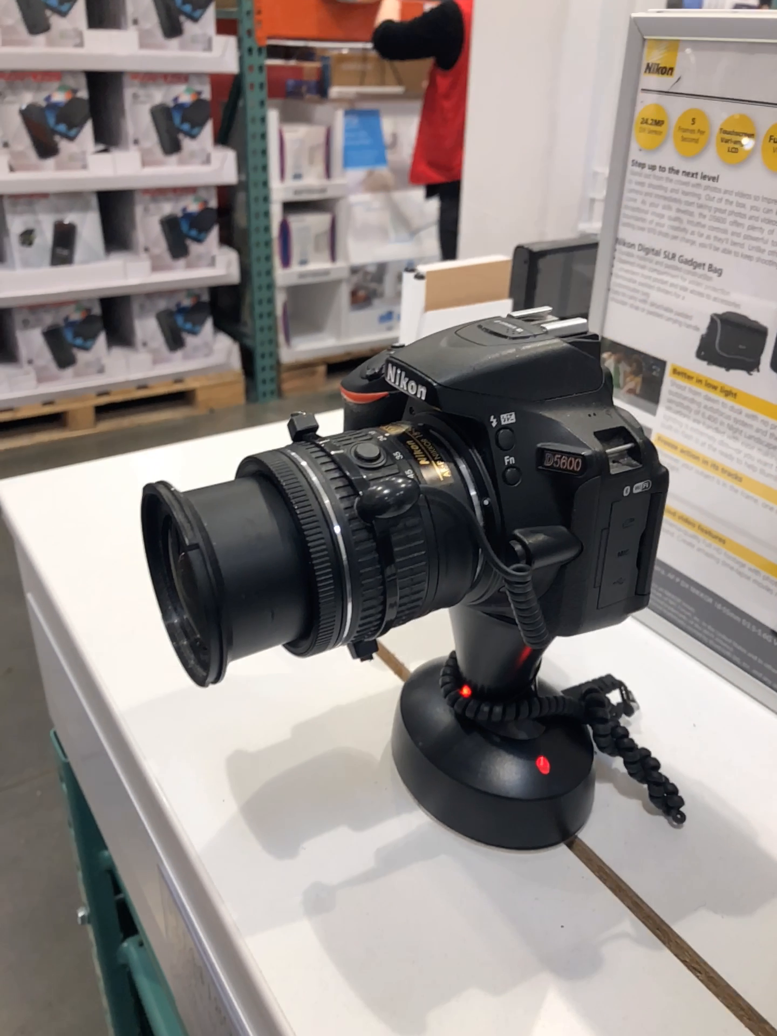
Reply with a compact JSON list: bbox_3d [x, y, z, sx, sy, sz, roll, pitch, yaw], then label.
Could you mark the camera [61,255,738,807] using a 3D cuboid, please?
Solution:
[{"bbox_3d":[-0.005,-0.017,0.289,0.160,0.099,0.141,-14,32,-27],"label":"camera"}]
